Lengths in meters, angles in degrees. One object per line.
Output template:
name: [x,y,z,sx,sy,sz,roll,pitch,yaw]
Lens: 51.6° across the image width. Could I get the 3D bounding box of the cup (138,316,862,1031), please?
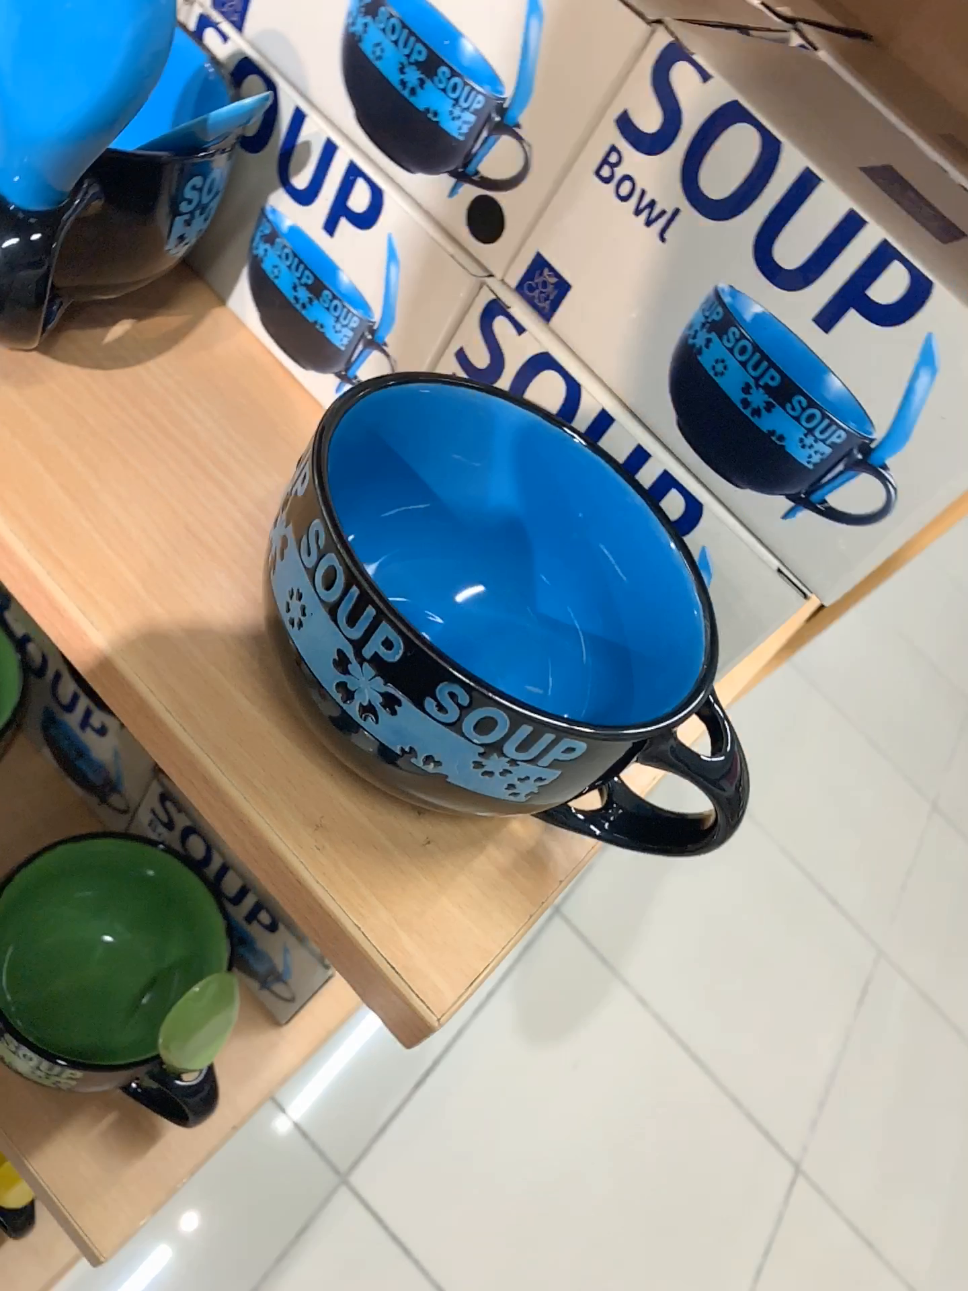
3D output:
cup: [0.011,0.001,0.257,0.150,0.060,0.100,41,41,0]
